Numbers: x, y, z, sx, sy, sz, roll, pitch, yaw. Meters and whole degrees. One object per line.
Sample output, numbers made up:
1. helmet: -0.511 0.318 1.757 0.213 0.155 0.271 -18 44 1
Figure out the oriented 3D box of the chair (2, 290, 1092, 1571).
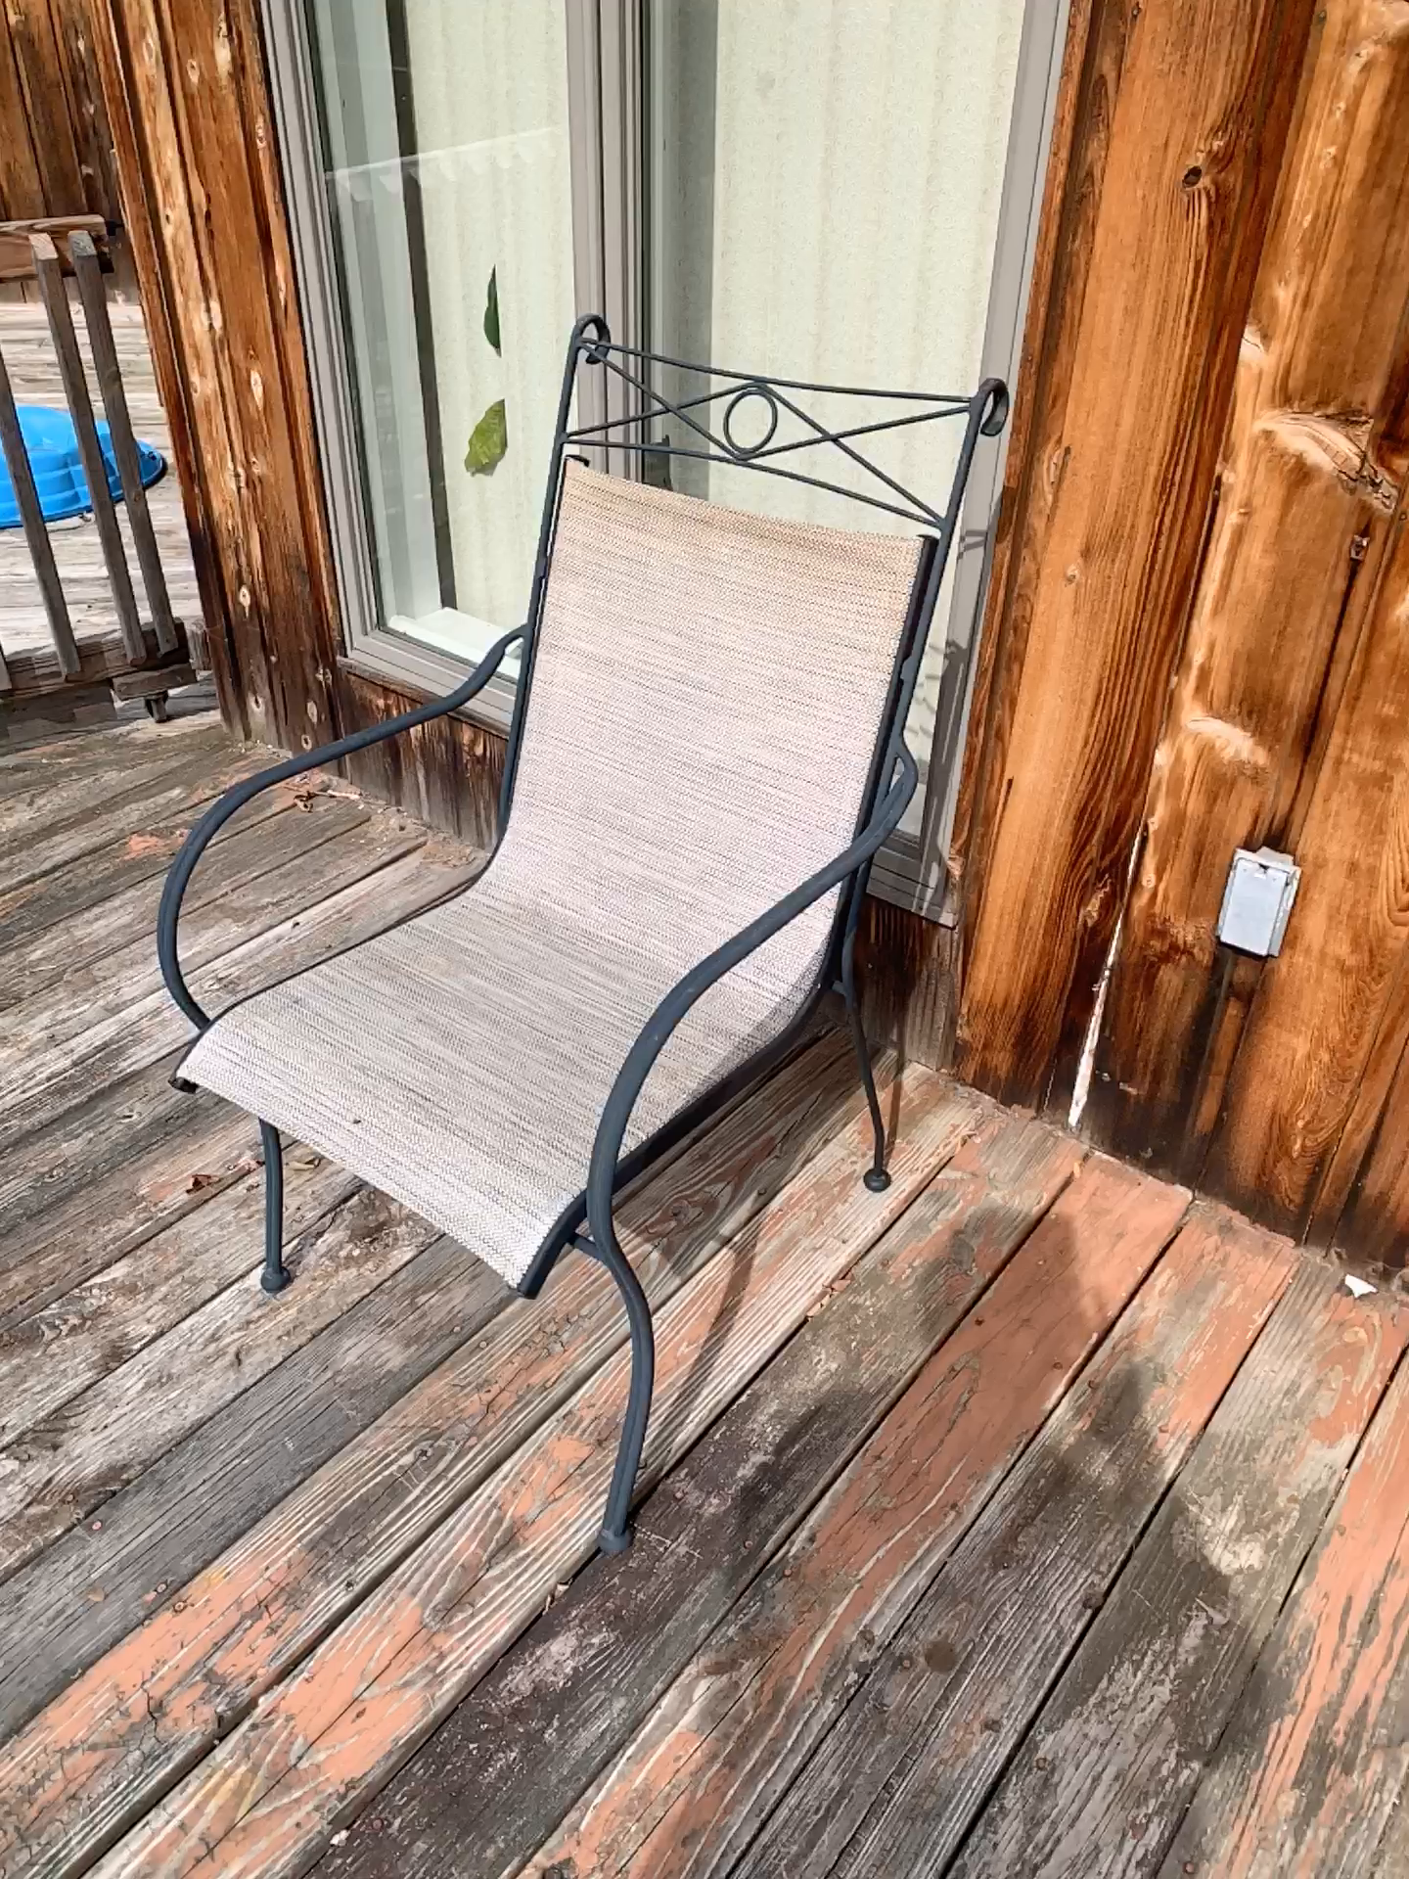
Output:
1. chair: -0.111 -0.055 1.438 0.612 0.945 0.652 23 40 29
